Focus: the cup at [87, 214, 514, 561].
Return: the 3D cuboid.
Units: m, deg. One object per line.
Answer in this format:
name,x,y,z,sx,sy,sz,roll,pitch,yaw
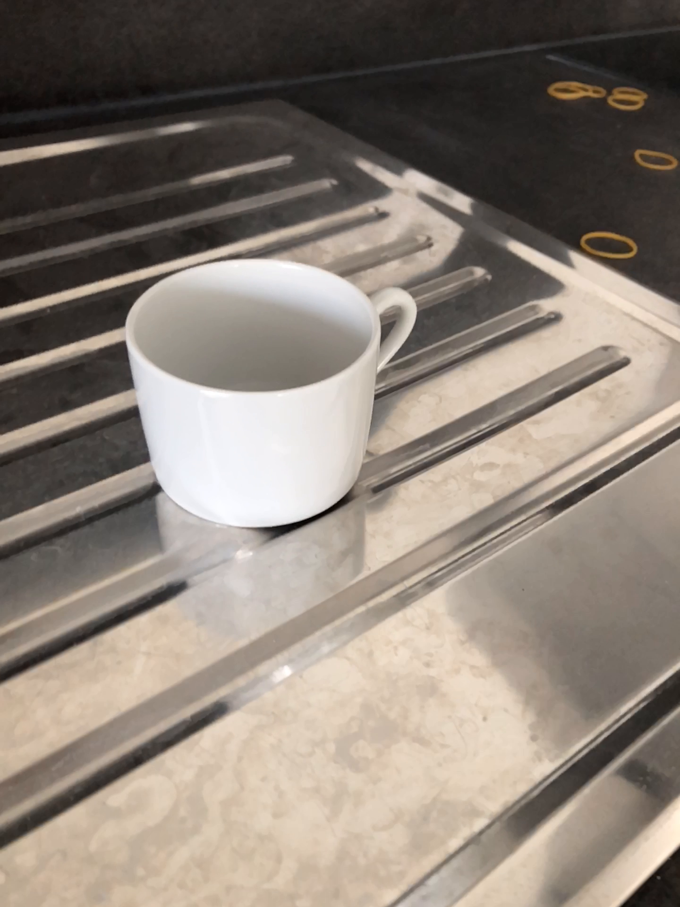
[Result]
cup,-0.015,-0.029,0.257,0.110,0.060,0.080,-17,45,-23
